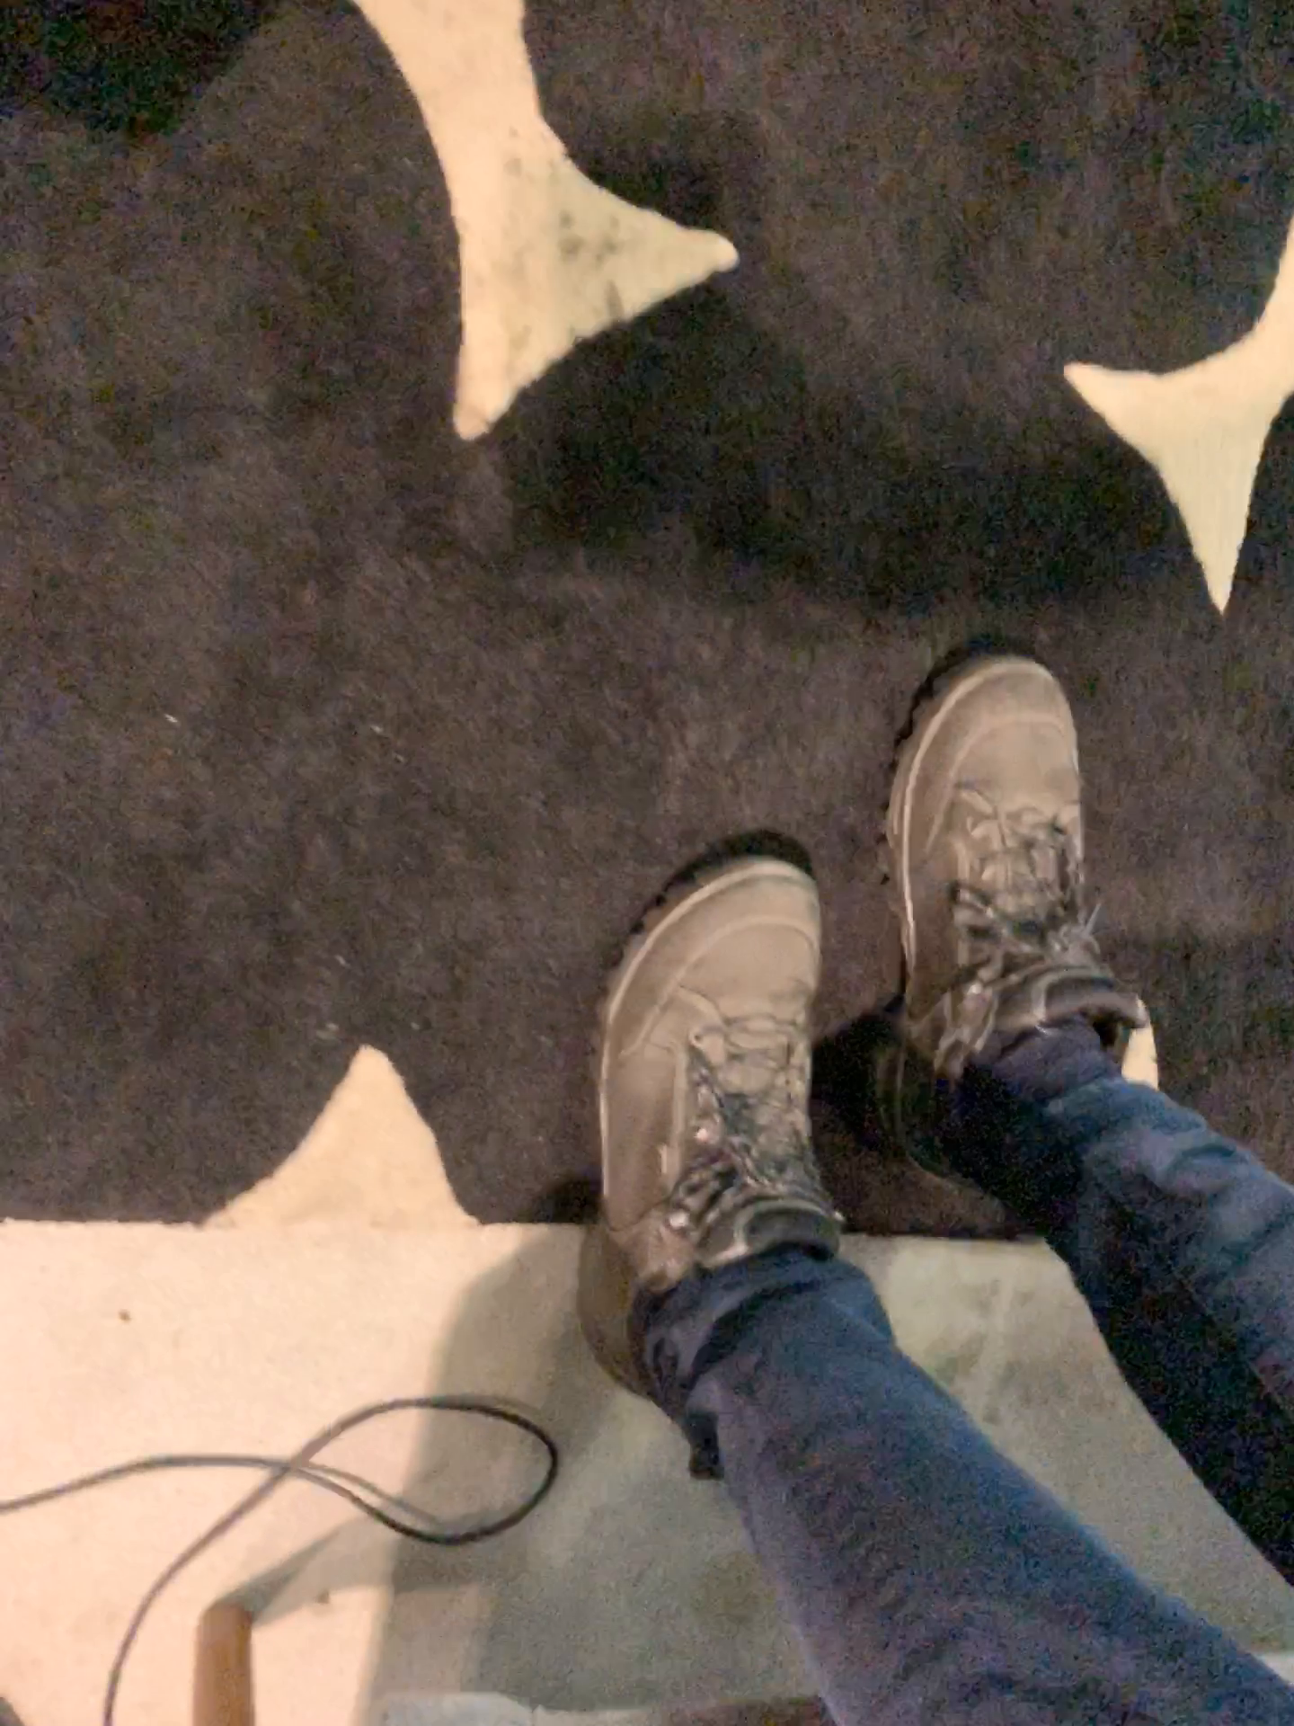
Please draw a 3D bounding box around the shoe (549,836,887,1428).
[{"bbox_3d":[0.033,0.137,0.683,0.119,0.077,0.284,5,98,-20],"label":"shoe"}]

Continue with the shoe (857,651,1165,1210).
[{"bbox_3d":[0.194,0.032,0.715,0.121,0.077,0.287,-2,100,-19],"label":"shoe"}]
